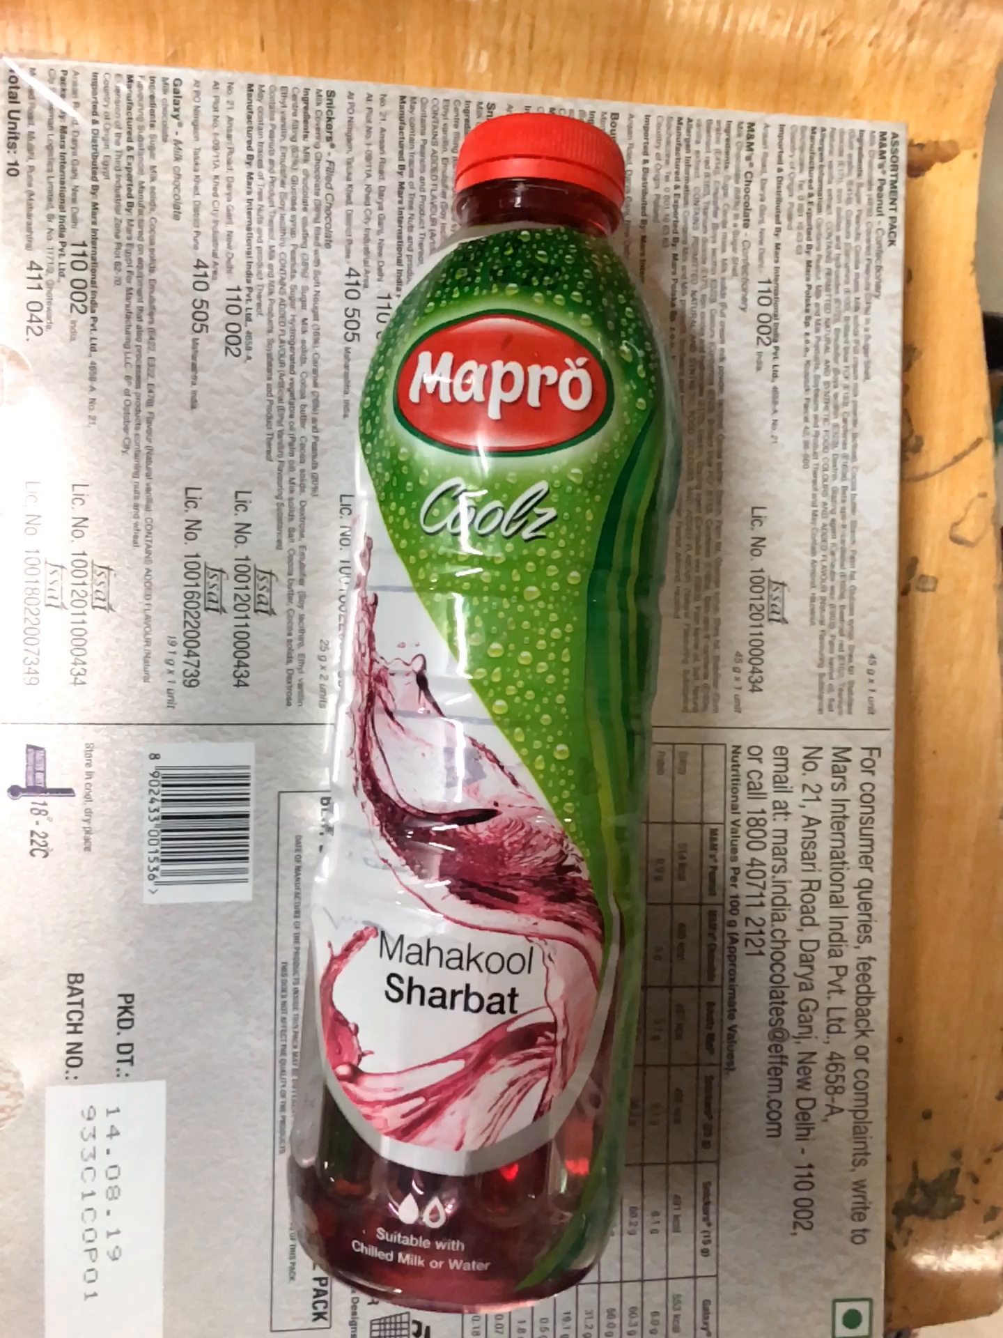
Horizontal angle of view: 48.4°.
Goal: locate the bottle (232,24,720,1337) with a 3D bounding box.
[{"bbox_3d":[-0.004,0.007,0.264,0.080,0.060,0.280,5,92,6],"label":"bottle"}]
